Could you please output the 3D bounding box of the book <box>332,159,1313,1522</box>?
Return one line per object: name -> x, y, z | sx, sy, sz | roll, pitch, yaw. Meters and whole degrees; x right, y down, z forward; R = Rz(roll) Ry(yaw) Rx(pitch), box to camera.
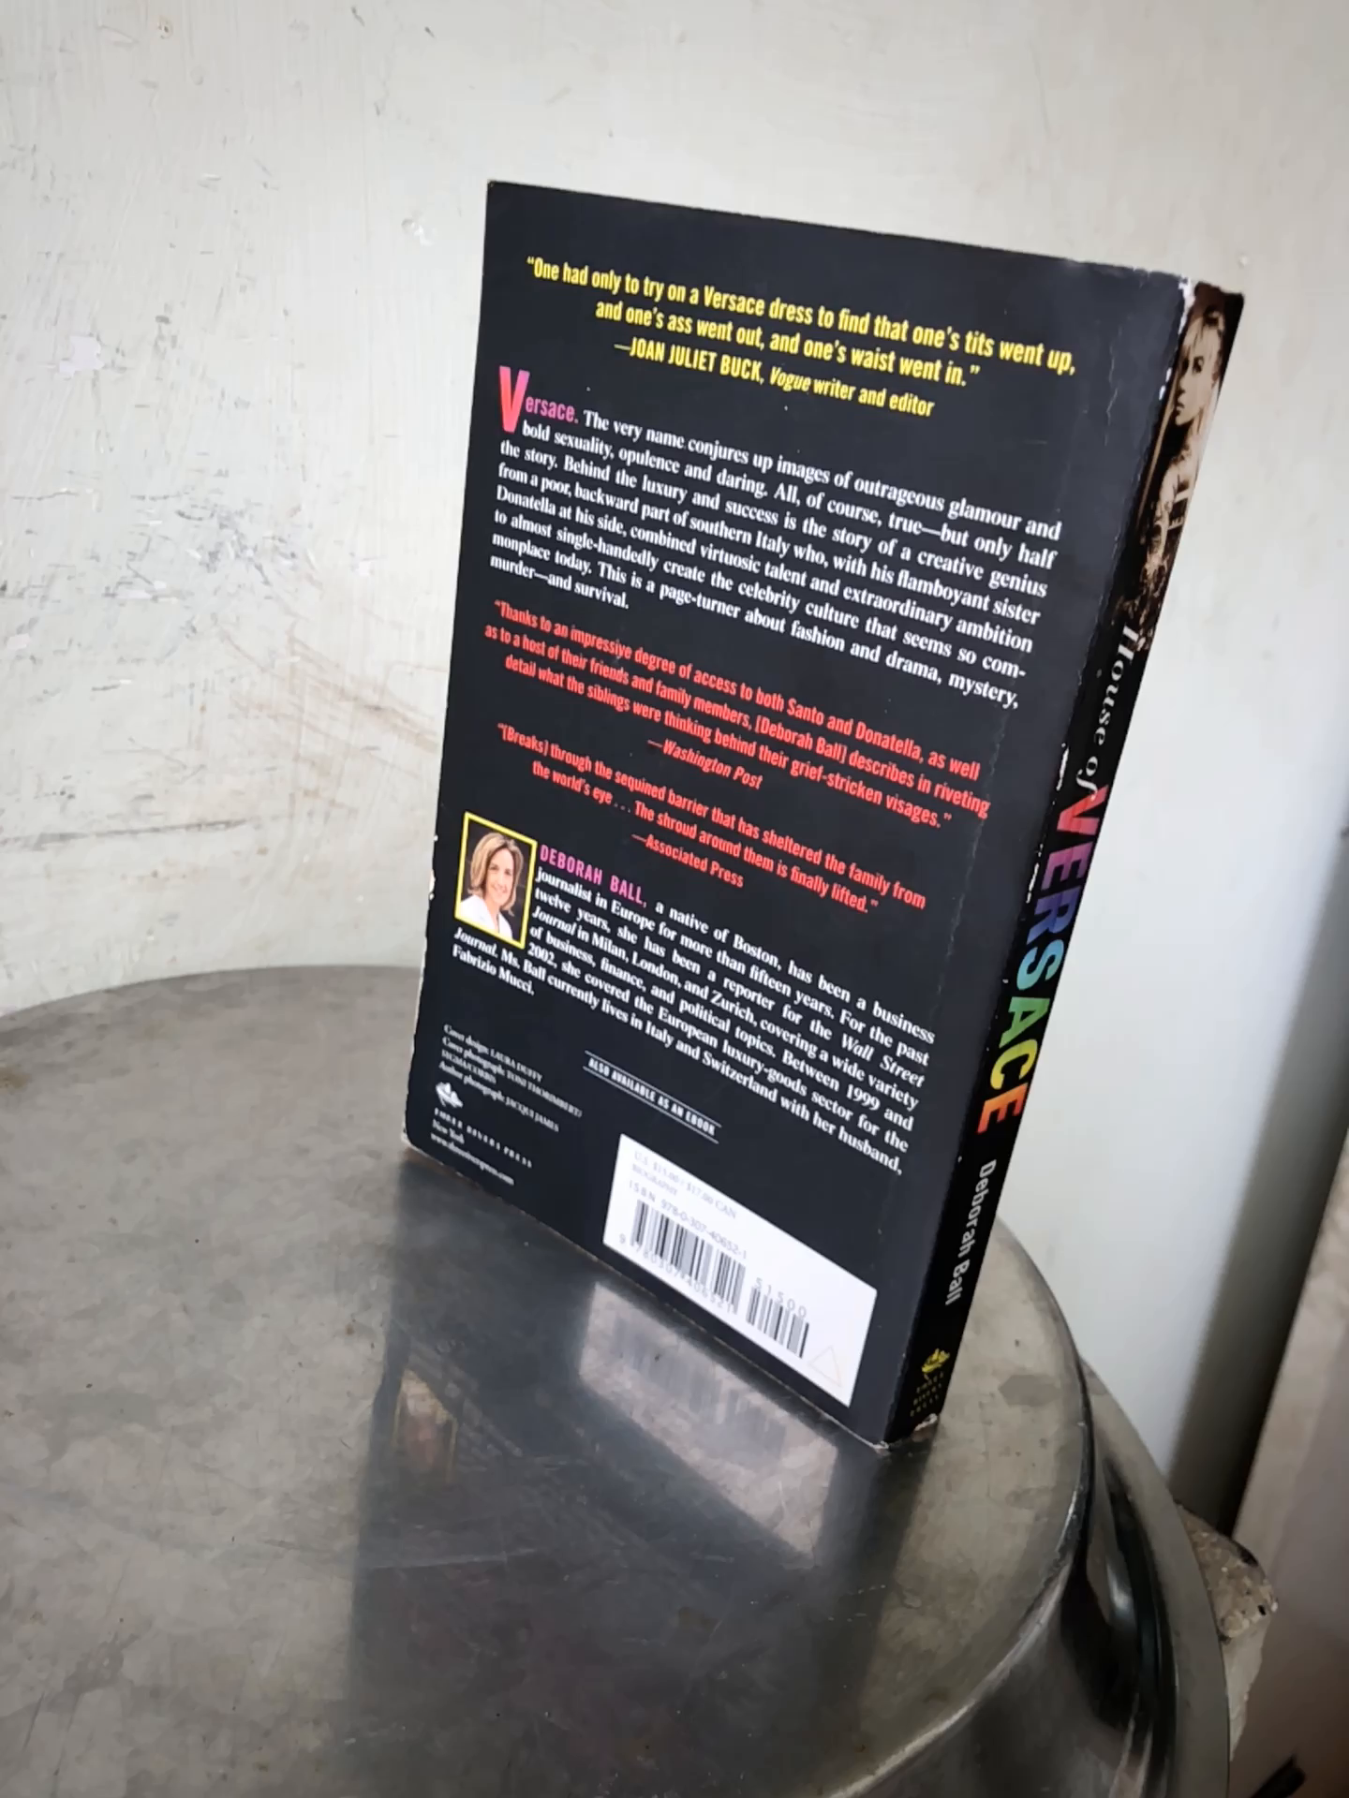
book -> 0.004, -0.025, 0.303 | 0.040, 0.219, 0.180 | -10, 26, -44
